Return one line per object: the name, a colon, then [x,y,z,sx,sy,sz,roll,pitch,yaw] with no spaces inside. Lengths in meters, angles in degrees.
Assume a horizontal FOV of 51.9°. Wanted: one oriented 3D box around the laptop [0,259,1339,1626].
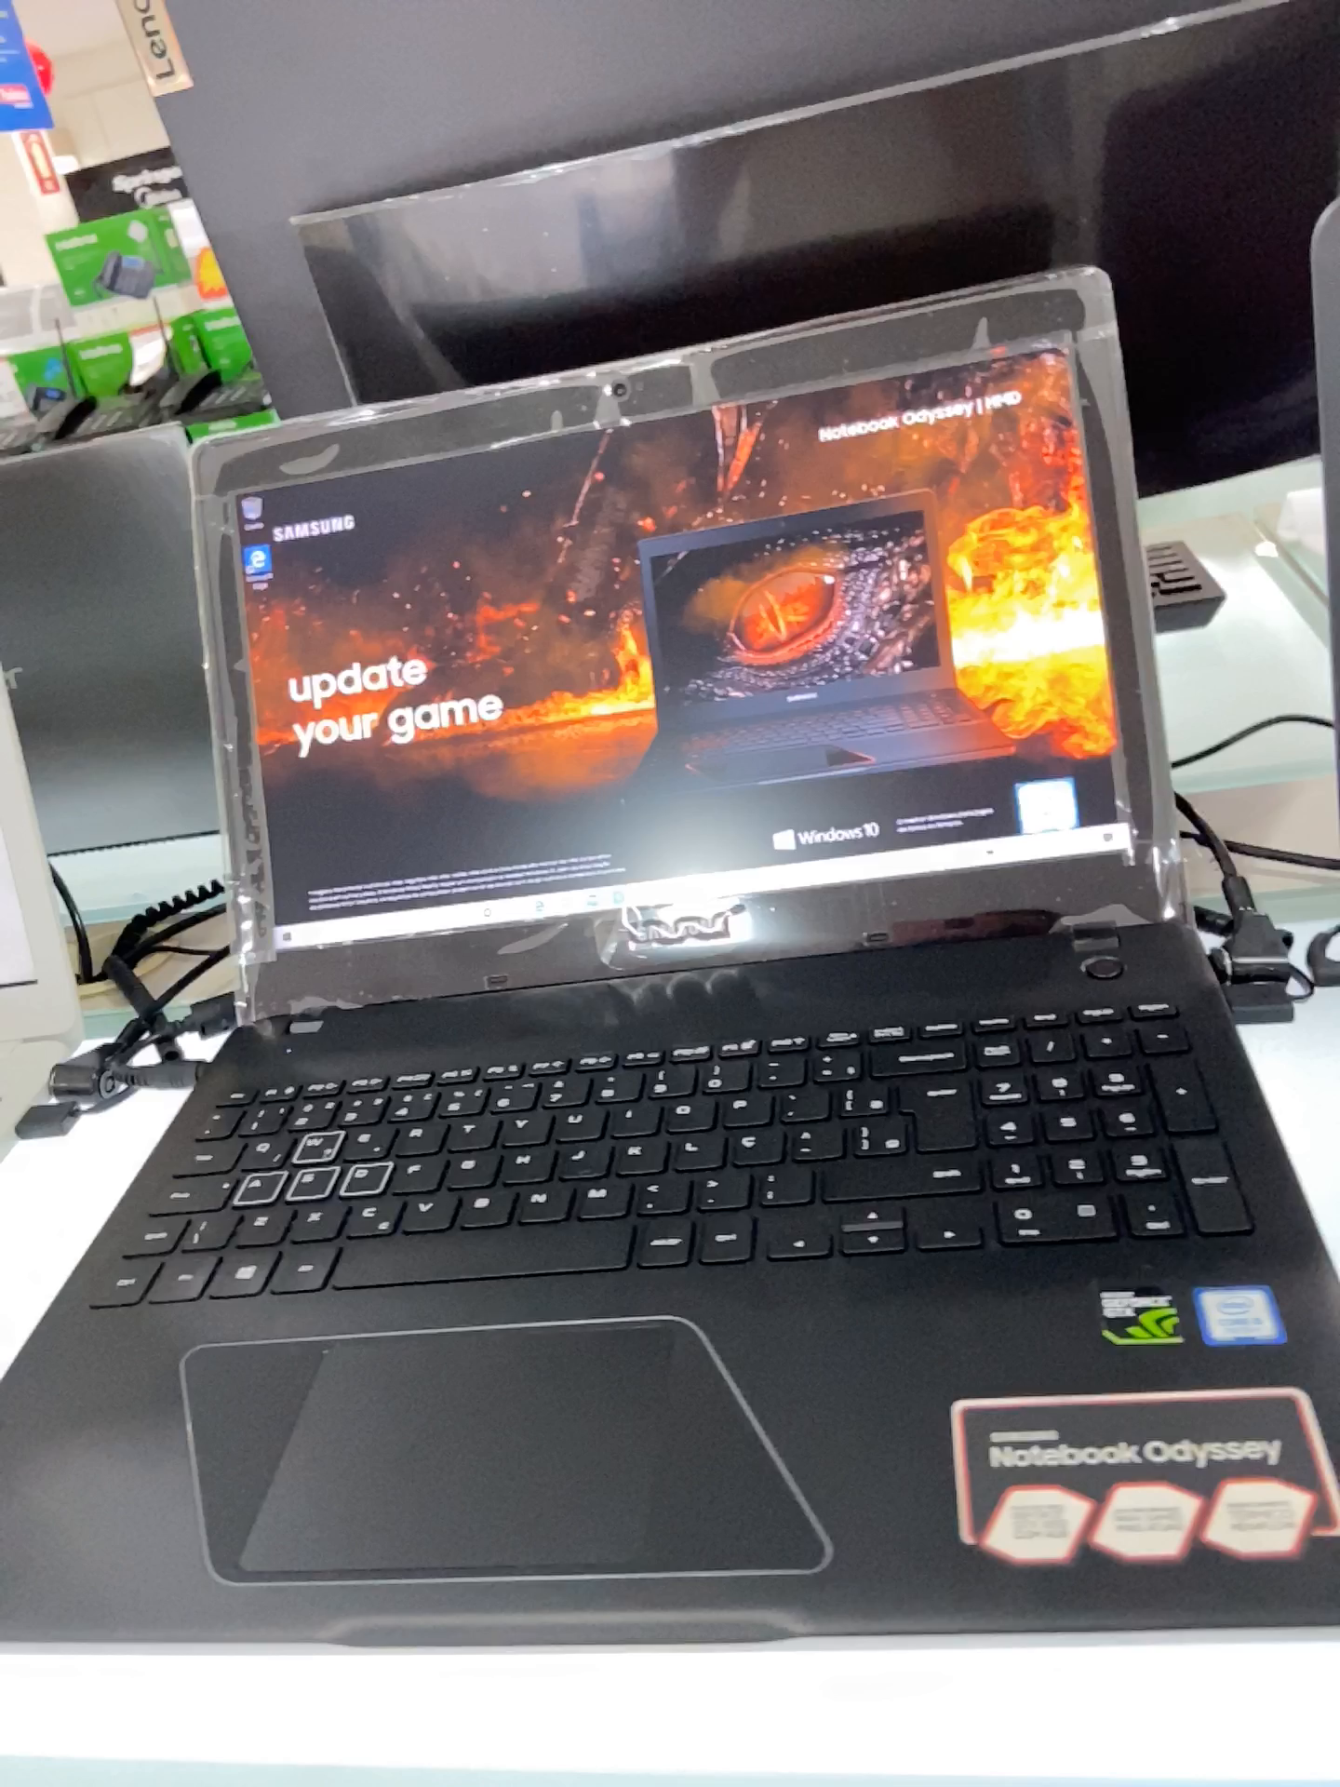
laptop: [-0.024,-0.027,0.424,0.373,0.202,0.393,-7,29,12]
